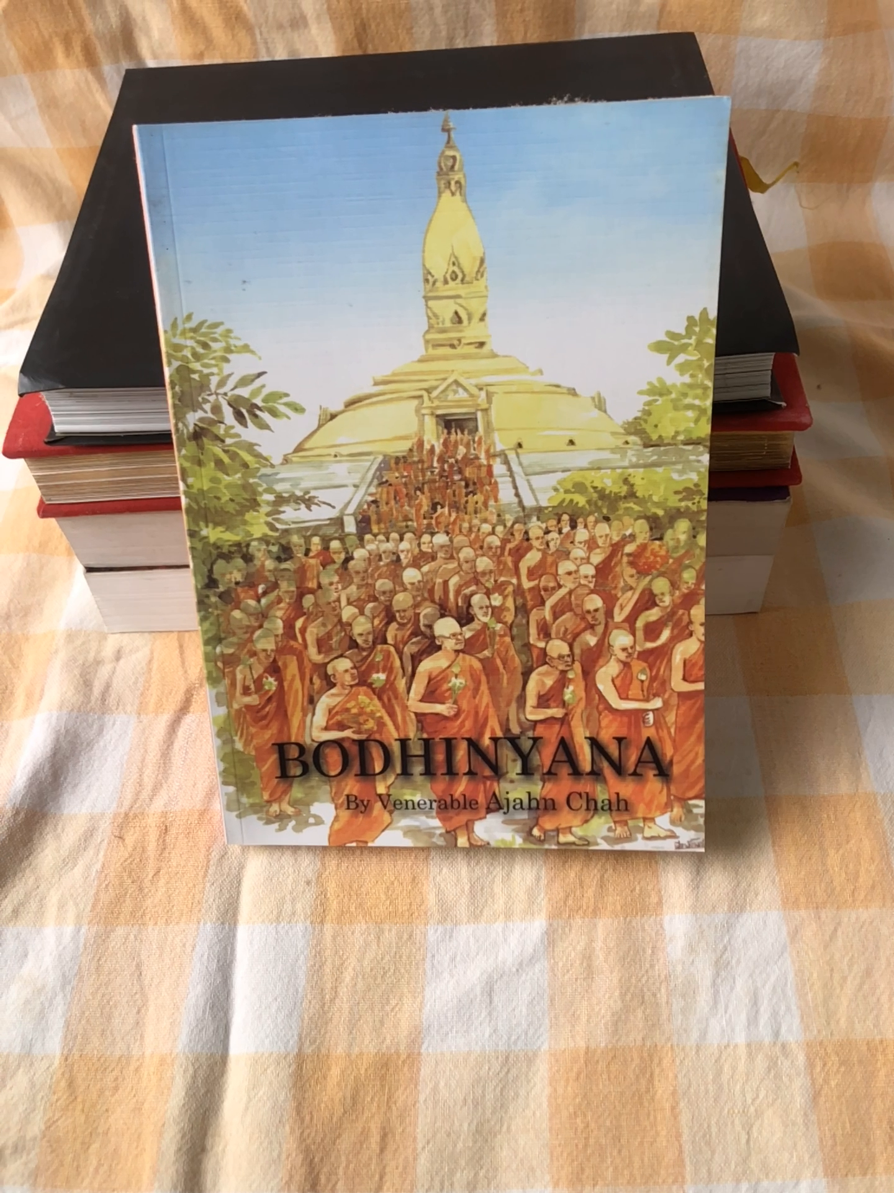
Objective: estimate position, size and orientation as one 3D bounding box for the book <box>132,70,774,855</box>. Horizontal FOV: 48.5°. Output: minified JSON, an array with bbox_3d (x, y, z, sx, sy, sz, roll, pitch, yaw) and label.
[{"bbox_3d":[0.002,-0.028,0.273,0.150,0.200,0.030,0,16,5],"label":"book"}]
